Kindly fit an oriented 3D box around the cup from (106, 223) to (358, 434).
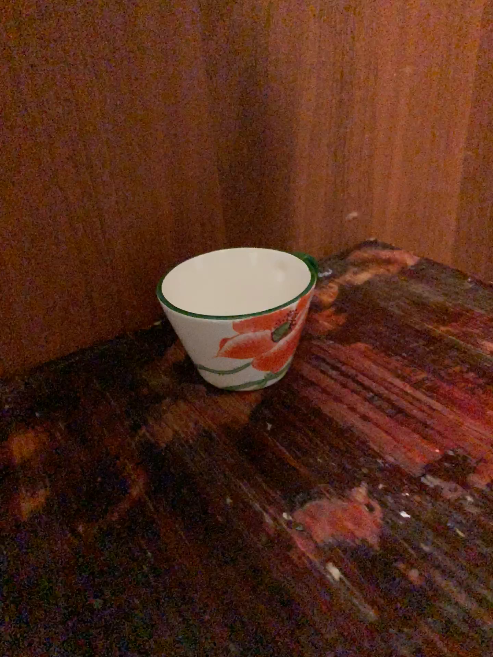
[{"bbox_3d":[-0.003,-0.008,0.253,0.076,0.045,0.095,21,41,36],"label":"cup"}]
